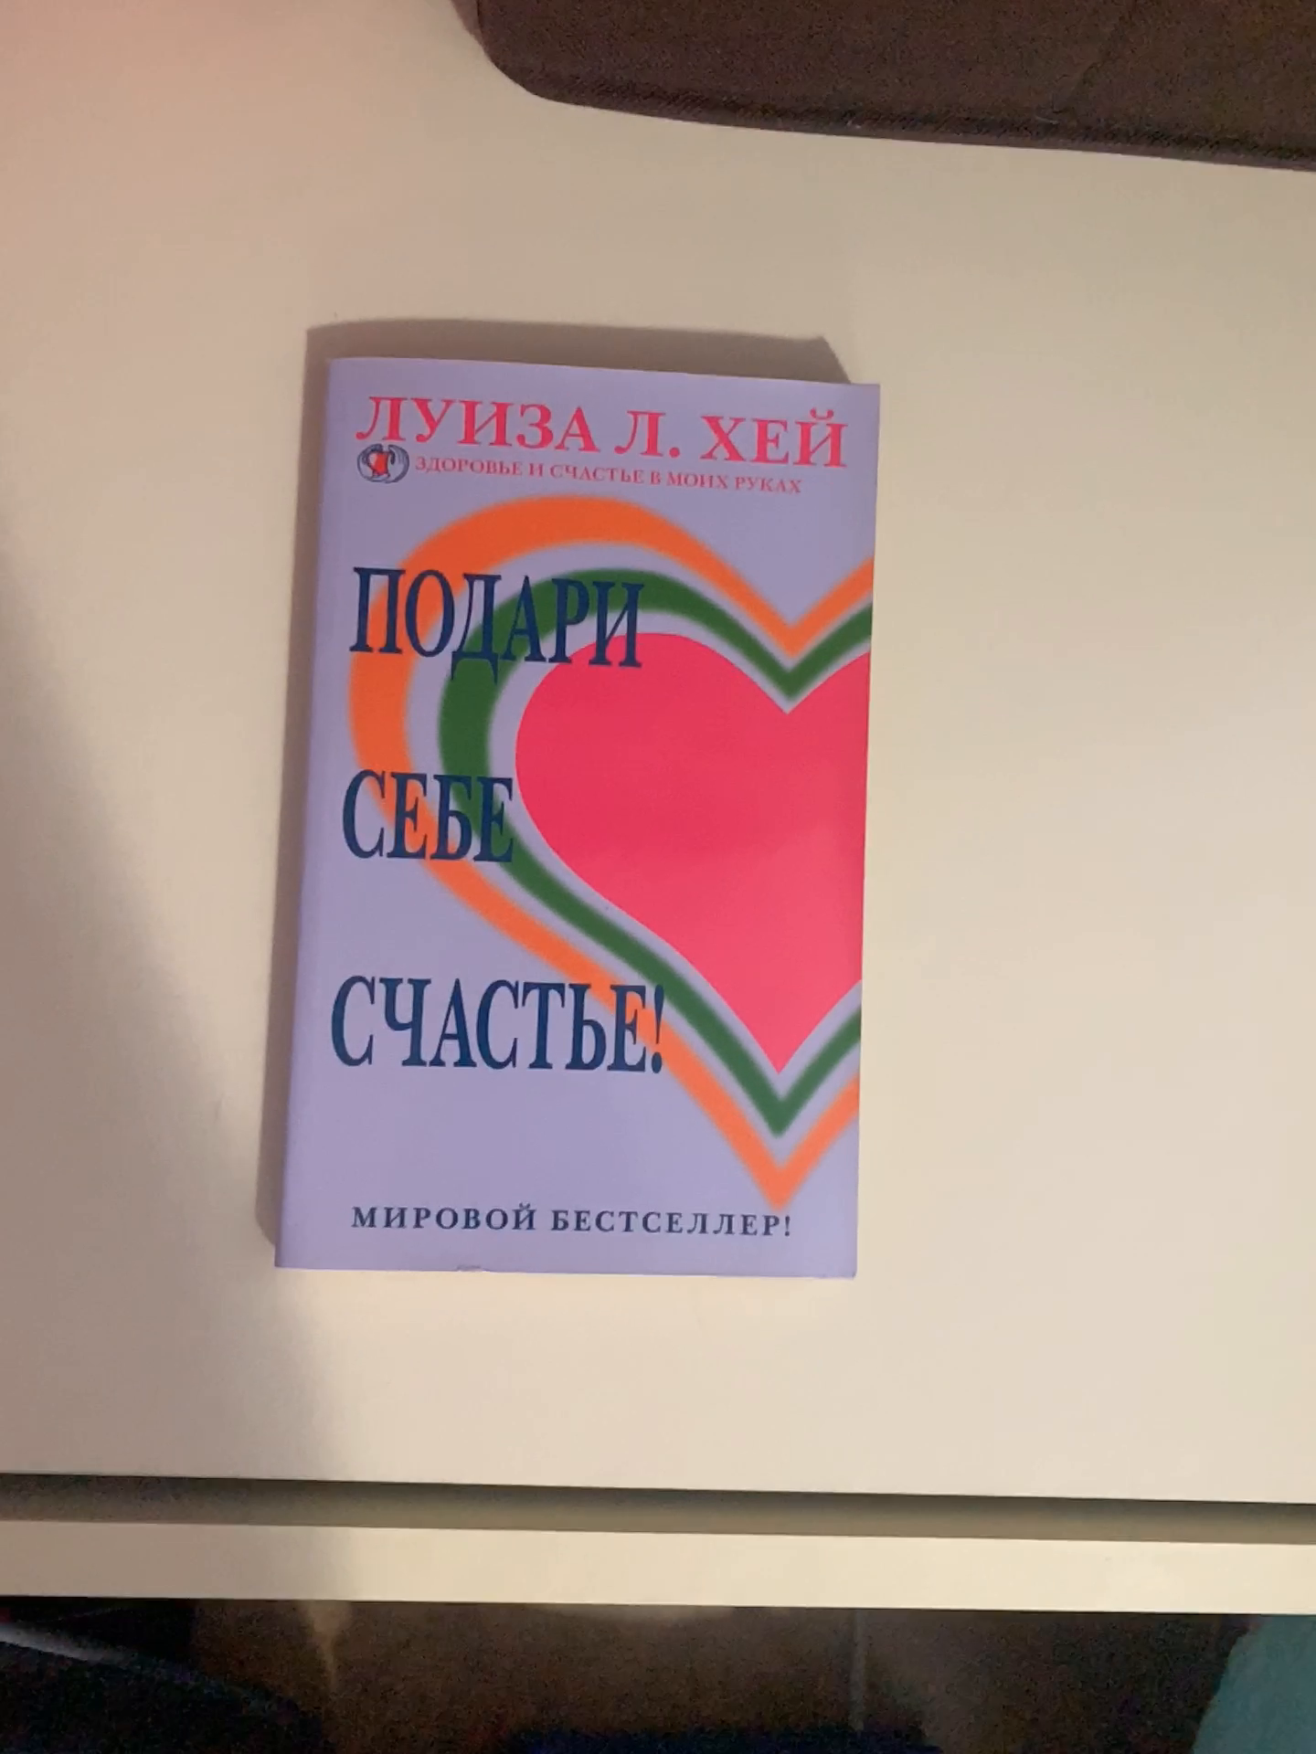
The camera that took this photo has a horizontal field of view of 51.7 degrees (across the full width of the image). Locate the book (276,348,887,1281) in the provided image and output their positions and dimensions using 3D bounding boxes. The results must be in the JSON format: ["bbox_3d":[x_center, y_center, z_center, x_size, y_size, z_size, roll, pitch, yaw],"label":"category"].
[{"bbox_3d":[-0.014,-0.013,0.296,0.123,0.016,0.194,2,86,-4],"label":"book"}]
